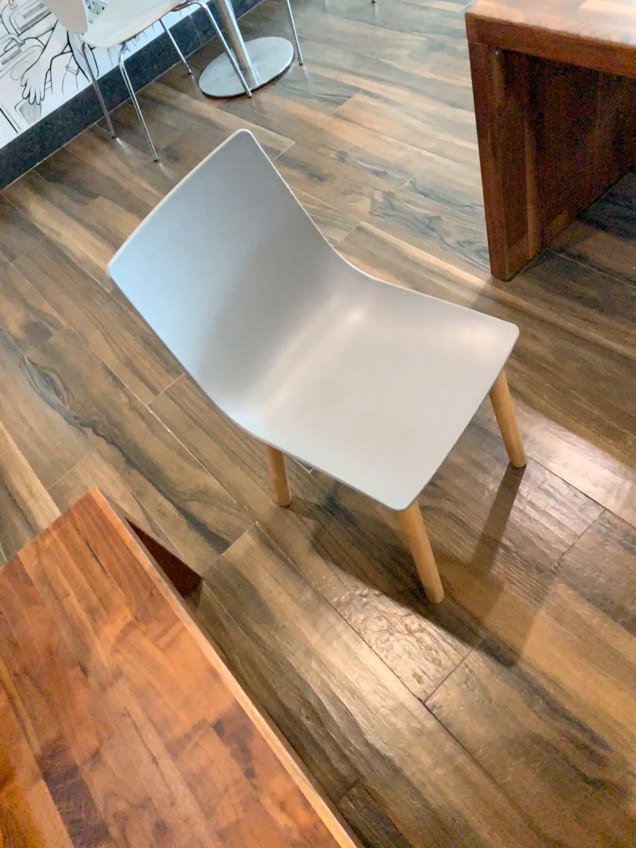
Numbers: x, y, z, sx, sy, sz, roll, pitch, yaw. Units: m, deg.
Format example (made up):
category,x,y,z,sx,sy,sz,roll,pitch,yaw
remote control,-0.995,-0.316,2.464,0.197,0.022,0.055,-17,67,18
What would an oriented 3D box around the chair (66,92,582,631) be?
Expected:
category,x,y,z,sx,sy,sz,roll,pitch,yaw
chair,0.078,-0.094,1.173,0.563,0.695,0.501,28,70,33
